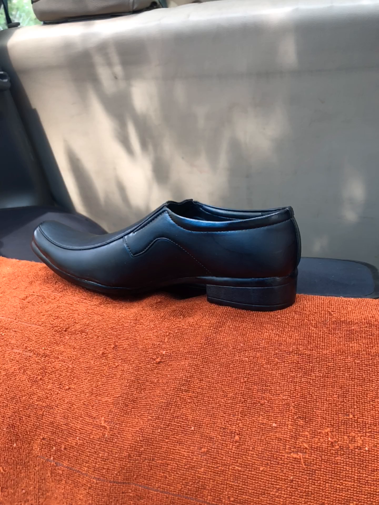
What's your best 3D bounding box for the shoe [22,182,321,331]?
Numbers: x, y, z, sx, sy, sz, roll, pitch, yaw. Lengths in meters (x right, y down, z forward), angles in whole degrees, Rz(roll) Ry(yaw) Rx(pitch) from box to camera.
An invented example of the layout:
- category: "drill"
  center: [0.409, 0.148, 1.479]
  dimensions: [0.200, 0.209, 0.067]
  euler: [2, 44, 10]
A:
- category: "shoe"
  center: [-0.021, -0.018, 0.476]
  dimensions: [0.290, 0.100, 0.161]
  euler: [8, 16, 28]
